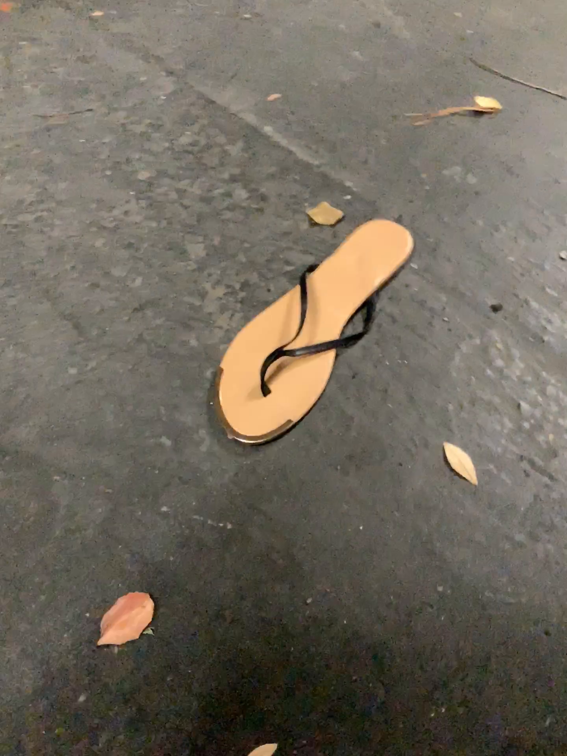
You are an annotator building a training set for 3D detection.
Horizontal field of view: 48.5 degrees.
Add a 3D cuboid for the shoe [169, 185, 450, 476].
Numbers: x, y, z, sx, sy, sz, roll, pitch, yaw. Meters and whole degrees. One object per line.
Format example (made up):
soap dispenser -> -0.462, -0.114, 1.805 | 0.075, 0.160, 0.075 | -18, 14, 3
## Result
shoe -> 0.032, -0.058, 0.578 | 0.110, 0.030, 0.290 | 28, 66, 22
